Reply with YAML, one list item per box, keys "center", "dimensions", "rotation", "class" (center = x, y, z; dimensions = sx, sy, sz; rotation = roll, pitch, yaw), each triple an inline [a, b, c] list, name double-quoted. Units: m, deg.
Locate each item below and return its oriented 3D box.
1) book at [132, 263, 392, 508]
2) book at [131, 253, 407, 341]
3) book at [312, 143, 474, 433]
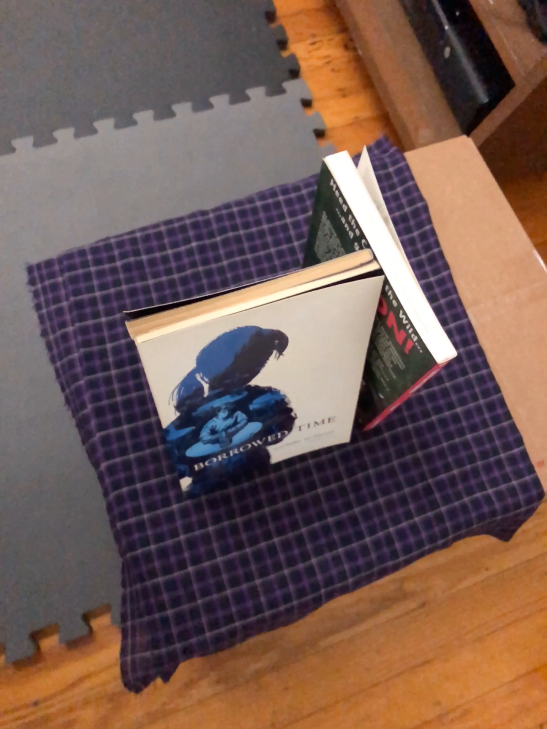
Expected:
- center: [-0.003, 0.027, 0.395]
  dimensions: [0.140, 0.199, 0.010]
  rotation: [-18, 57, -12]
  class: "book"
- center: [-0.017, -0.041, 0.418]
  dimensions: [0.150, 0.200, 0.010]
  rotation: [-16, 95, -9]
  class: "book"
- center: [0.068, -0.035, 0.418]
  dimensions: [0.020, 0.190, 0.140]
  rotation: [-21, 76, -5]
  class: "book"
